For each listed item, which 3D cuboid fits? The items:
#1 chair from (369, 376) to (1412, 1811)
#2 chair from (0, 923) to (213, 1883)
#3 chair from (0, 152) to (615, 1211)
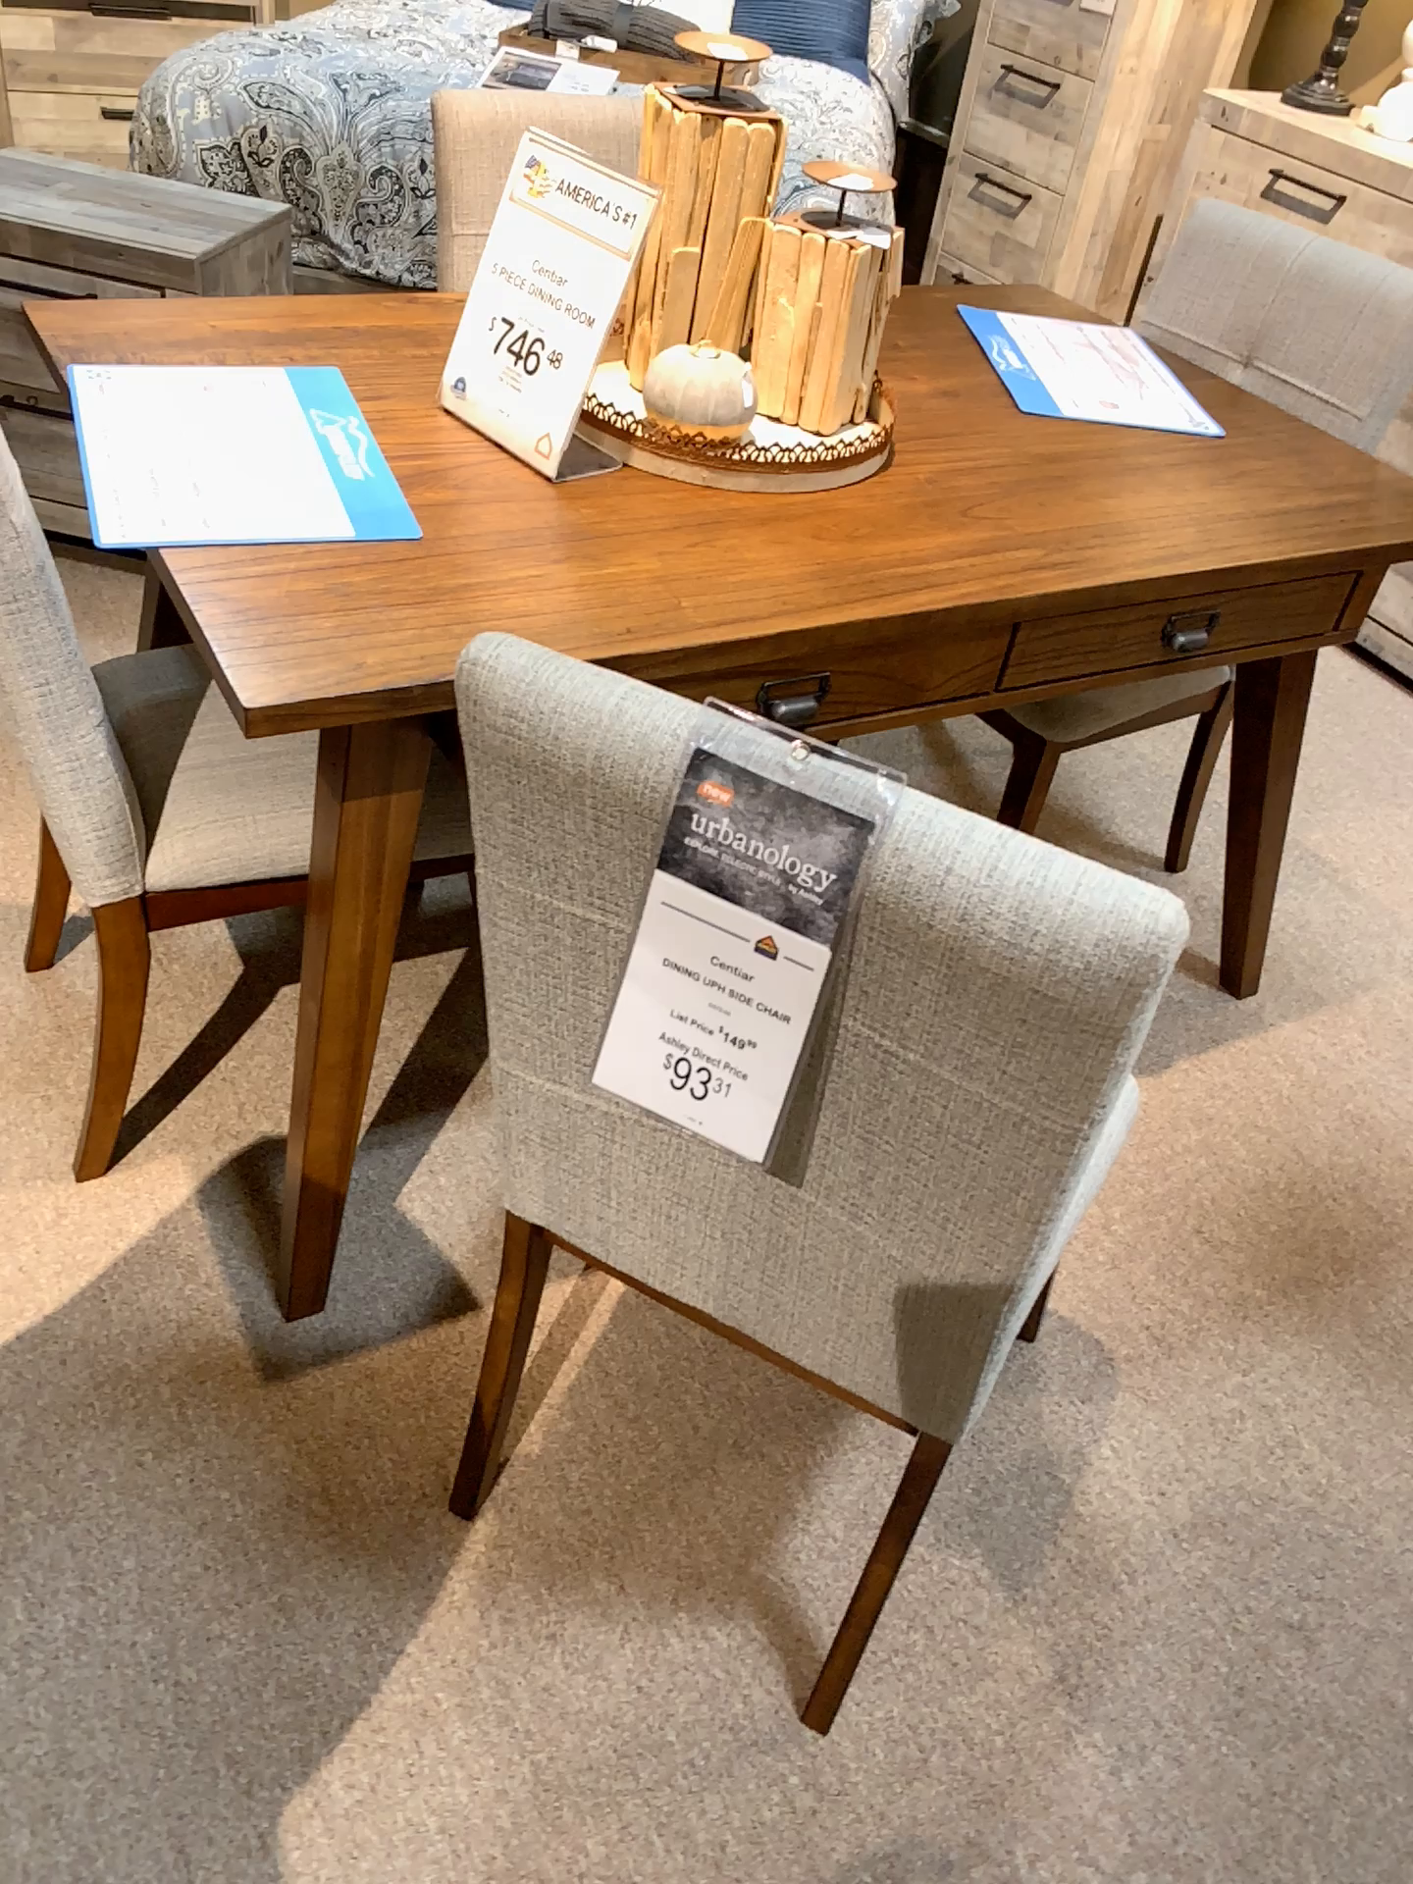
[{"bbox_3d":[0.118,0.124,1.214,0.484,0.912,0.630,25,42,18],"label":"chair"},{"bbox_3d":[-0.646,0.529,0.673,0.569,0.793,0.495,-27,52,-37],"label":"chair"},{"bbox_3d":[-0.516,-0.283,1.561,0.598,0.912,0.516,-16,46,-26],"label":"chair"}]
